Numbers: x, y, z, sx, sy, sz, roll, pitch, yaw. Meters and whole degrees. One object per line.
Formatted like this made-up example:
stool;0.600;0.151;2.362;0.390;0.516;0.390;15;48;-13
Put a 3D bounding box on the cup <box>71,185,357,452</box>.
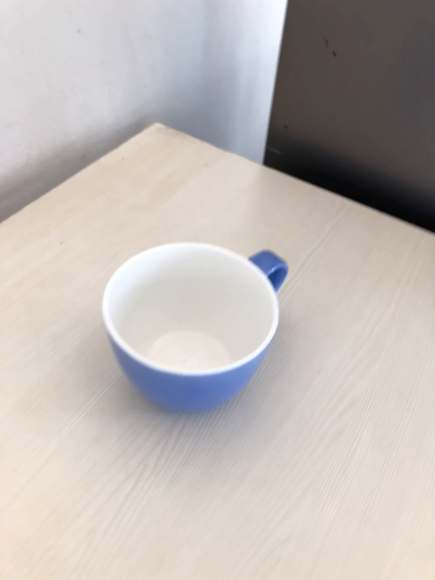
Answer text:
cup;0.001;0.009;0.325;0.151;0.070;0.100;-34;58;-32
